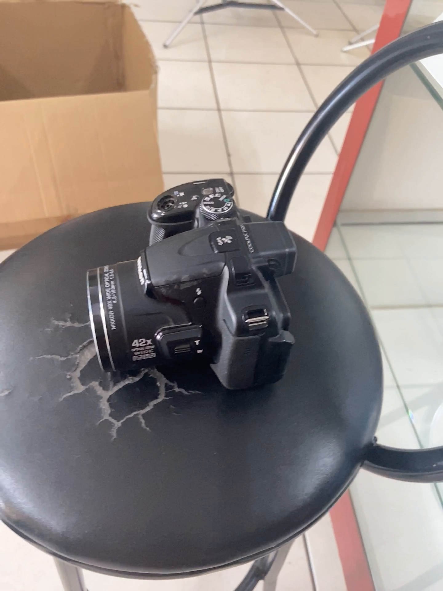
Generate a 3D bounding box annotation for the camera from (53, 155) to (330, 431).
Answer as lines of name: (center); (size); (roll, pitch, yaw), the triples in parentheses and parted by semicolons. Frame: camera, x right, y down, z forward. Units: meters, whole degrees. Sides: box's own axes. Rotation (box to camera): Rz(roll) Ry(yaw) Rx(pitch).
camera: (-0.026, -0.009, 0.266); (0.120, 0.070, 0.131); (-8, 51, -12)
